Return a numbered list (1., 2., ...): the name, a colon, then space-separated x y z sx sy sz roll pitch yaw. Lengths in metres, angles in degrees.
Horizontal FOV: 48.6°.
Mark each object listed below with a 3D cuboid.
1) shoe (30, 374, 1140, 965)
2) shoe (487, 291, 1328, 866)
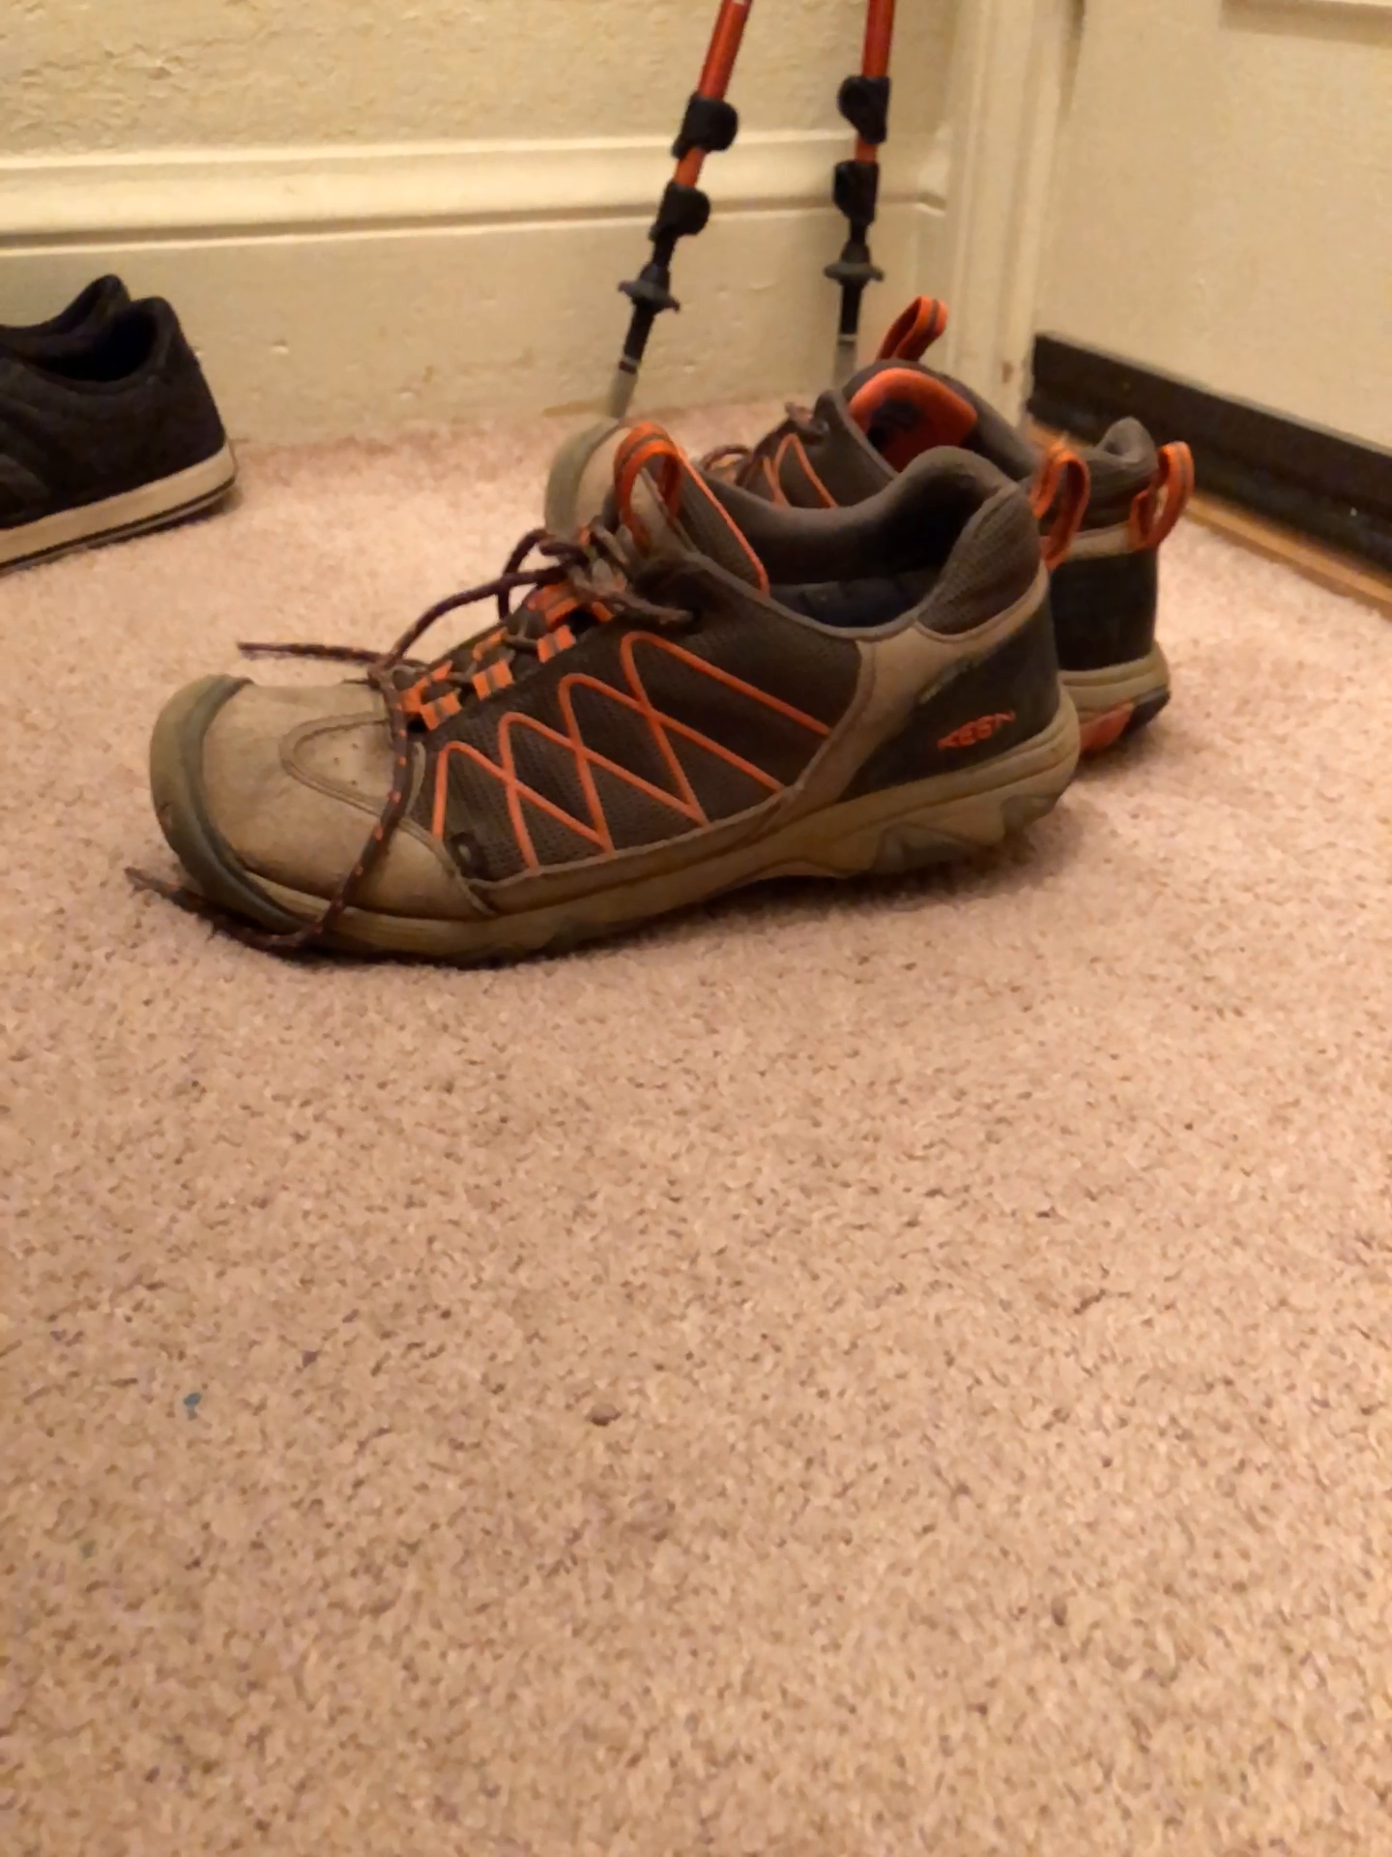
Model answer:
1. shoe: -0.029 -0.083 0.460 0.270 0.129 0.121 -2 33 -5
2. shoe: 0.068 -0.156 0.617 0.301 0.129 0.120 26 41 32
